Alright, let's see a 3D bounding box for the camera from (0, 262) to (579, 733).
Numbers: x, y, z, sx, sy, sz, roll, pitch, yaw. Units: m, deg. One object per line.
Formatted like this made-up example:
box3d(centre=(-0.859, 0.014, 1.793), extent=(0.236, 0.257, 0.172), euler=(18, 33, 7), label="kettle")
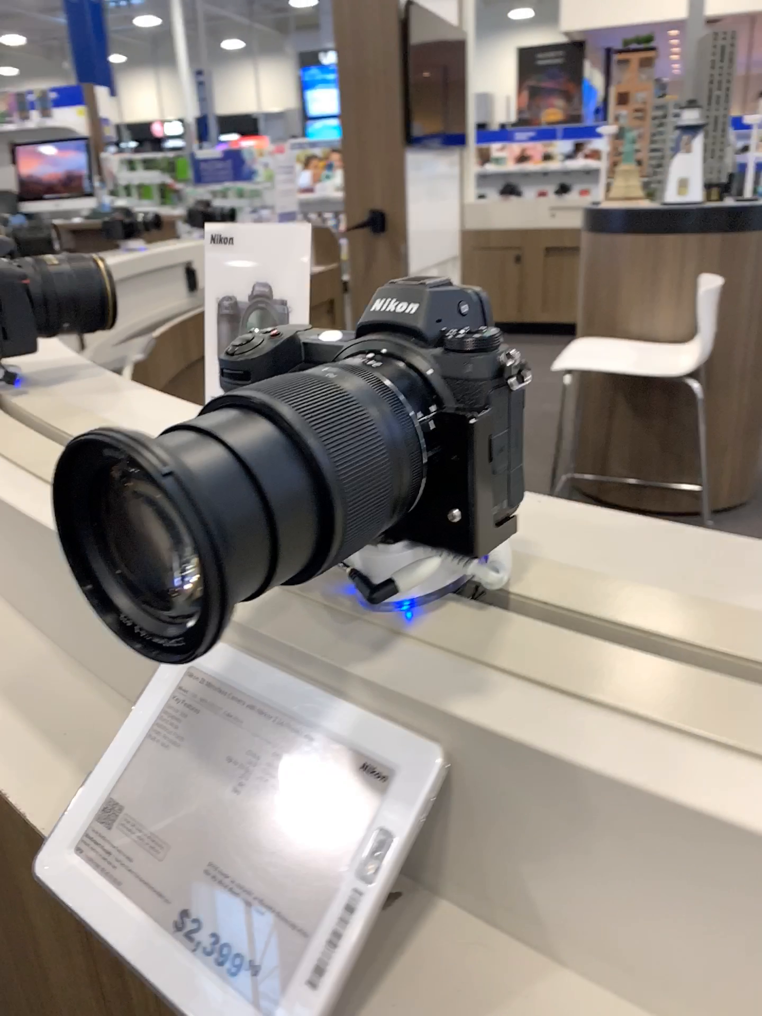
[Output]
box3d(centre=(-0.034, -0.033, 0.315), extent=(0.140, 0.099, 0.210), euler=(14, 28, 35), label="camera")
